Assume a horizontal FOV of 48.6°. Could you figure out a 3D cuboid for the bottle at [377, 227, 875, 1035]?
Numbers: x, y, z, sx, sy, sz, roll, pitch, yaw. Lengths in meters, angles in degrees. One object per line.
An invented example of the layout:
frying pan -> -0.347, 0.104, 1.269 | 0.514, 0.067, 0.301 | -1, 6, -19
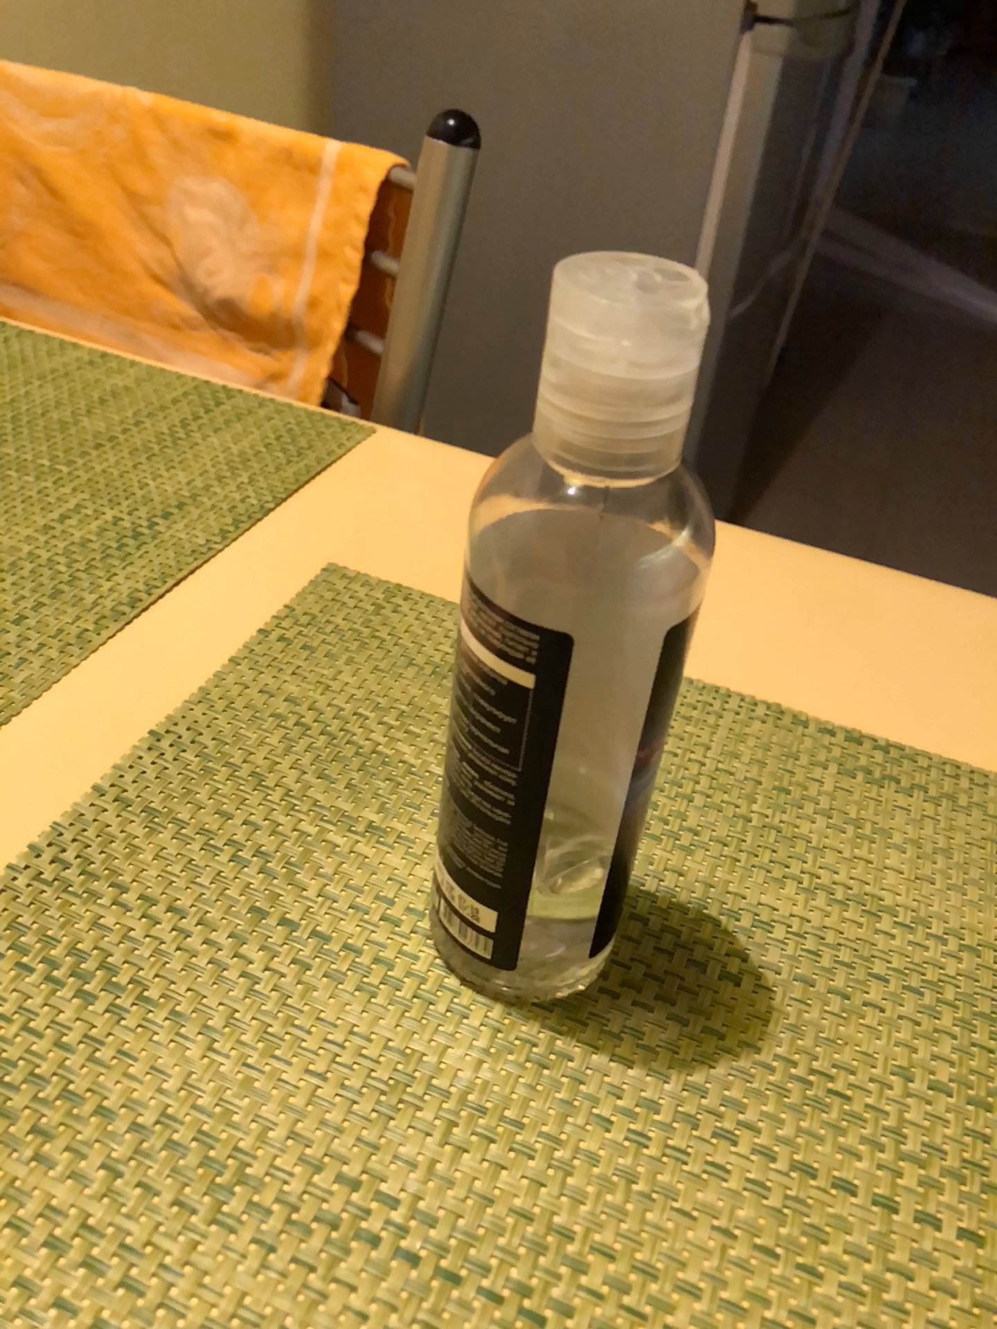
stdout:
bottle -> 0.013, -0.001, 0.216 | 0.054, 0.149, 0.051 | 5, 36, -4
